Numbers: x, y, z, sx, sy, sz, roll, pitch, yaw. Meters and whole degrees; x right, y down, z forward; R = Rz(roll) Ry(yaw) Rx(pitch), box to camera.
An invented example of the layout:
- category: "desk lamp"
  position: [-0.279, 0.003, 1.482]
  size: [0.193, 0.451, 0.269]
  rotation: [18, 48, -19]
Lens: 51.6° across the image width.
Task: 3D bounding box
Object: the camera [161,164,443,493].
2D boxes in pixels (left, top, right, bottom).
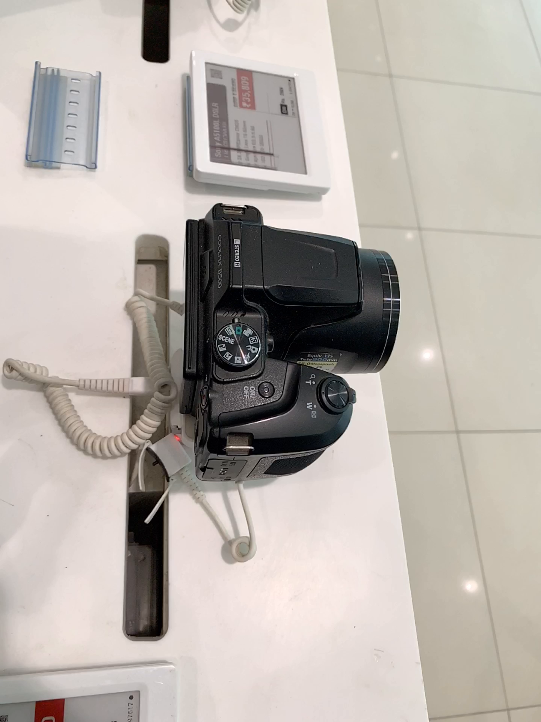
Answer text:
- category: "camera"
  position: [0.003, -0.009, 0.253]
  size: [0.100, 0.080, 0.120]
  rotation: [1, 67, -11]
